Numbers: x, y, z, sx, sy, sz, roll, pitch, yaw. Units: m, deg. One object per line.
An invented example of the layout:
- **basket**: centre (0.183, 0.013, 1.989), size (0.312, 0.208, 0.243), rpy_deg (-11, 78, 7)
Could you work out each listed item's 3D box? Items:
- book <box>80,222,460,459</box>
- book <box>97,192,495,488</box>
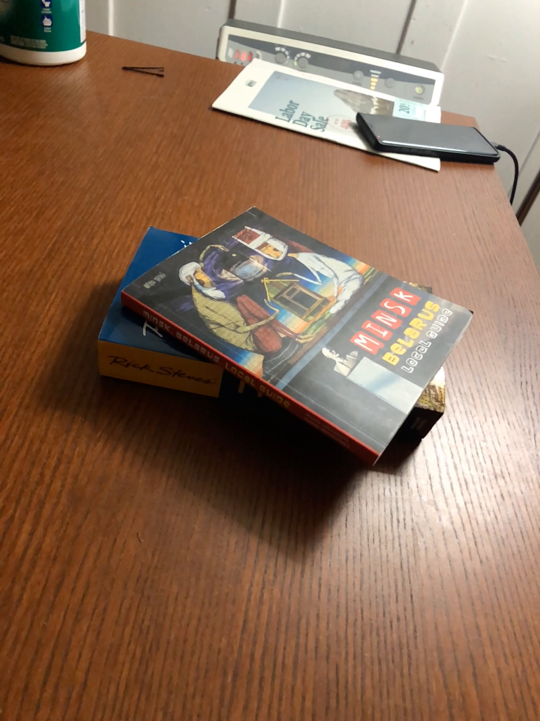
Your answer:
- **book**: centre (0.005, -0.019, 0.399), size (0.220, 0.040, 0.131), rpy_deg (12, 43, -3)
- **book**: centre (0.022, -0.030, 0.358), size (0.190, 0.020, 0.151), rpy_deg (30, 45, 16)
